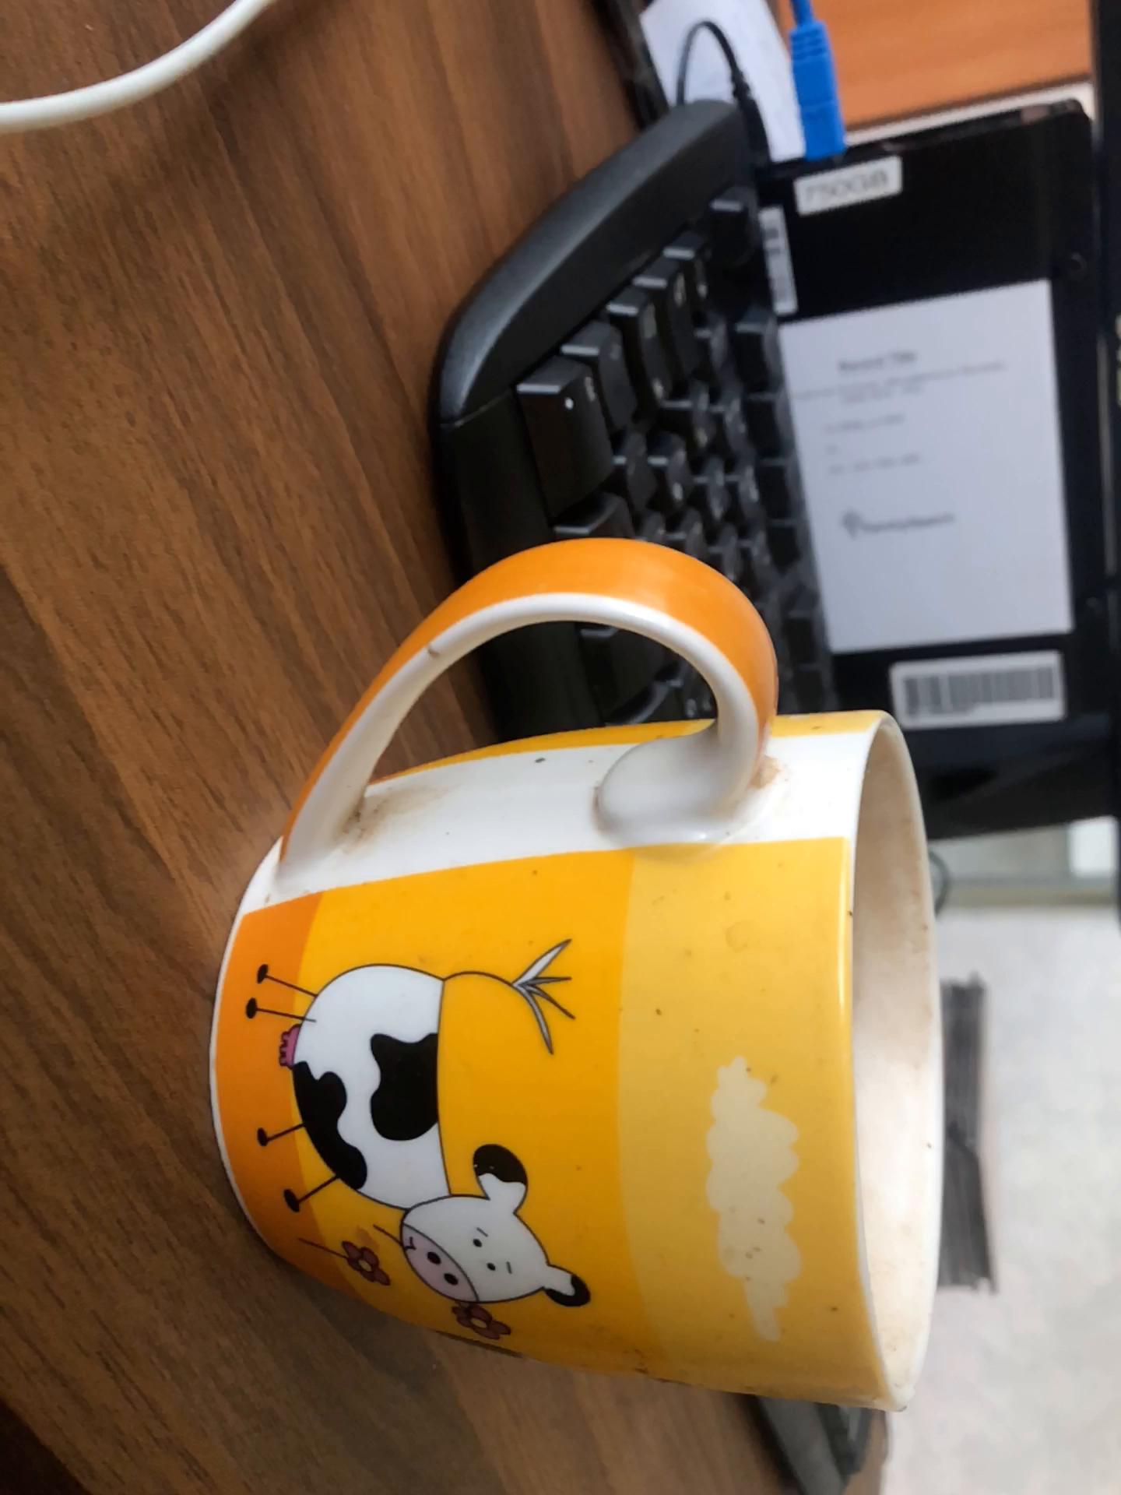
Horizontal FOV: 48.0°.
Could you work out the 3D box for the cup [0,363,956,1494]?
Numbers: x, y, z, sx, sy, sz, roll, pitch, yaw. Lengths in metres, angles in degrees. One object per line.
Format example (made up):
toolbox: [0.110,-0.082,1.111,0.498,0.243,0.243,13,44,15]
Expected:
cup: [0.002,0.031,0.191,0.093,0.095,0.135,-64,144,-50]
